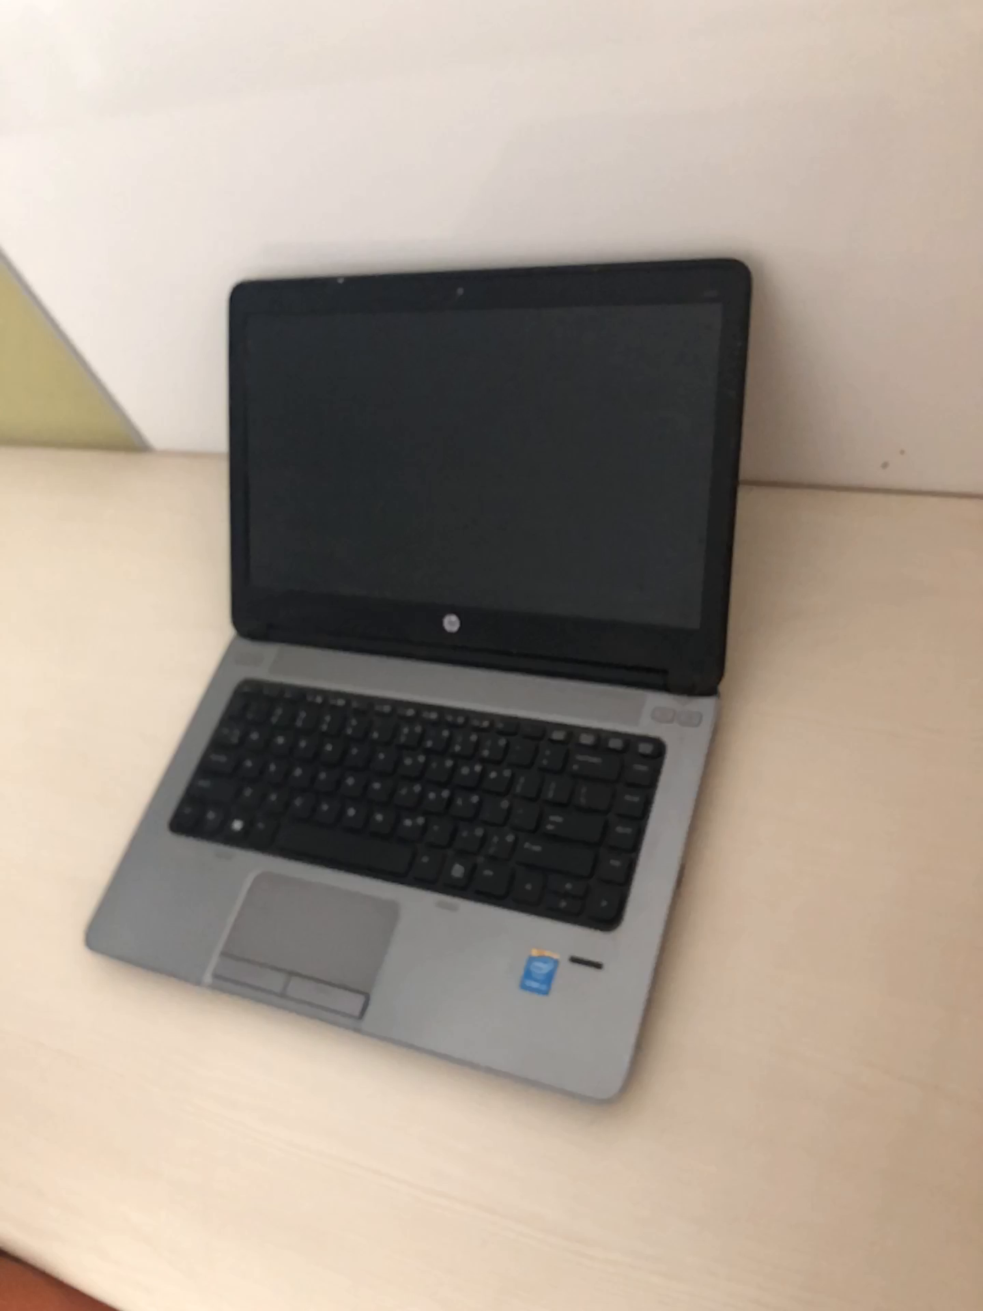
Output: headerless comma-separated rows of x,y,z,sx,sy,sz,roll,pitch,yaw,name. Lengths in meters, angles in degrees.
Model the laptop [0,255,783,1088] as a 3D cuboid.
-0.048,-0.022,0.591,0.323,0.148,0.378,7,59,25,laptop
